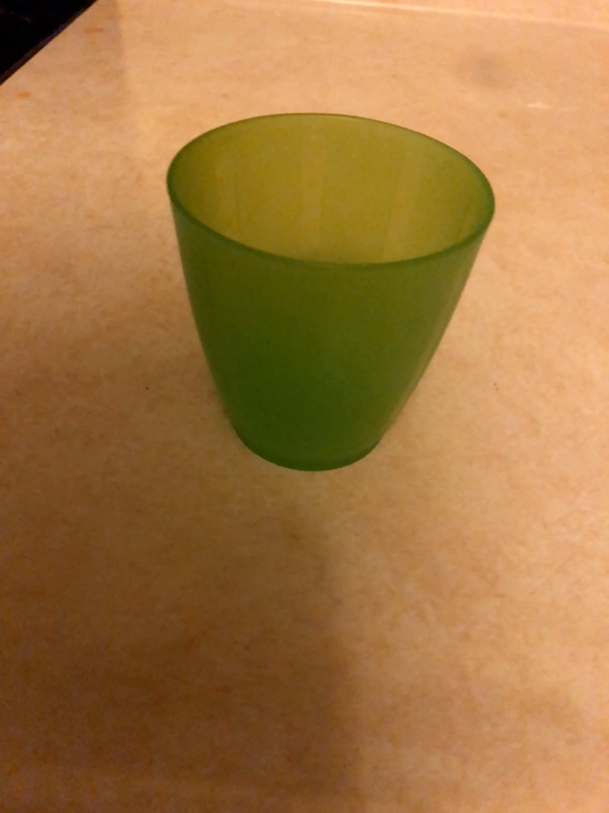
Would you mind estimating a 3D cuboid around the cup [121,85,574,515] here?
[{"bbox_3d":[0.004,-0.034,0.187,0.080,0.070,0.080,2,43,-2],"label":"cup"}]
